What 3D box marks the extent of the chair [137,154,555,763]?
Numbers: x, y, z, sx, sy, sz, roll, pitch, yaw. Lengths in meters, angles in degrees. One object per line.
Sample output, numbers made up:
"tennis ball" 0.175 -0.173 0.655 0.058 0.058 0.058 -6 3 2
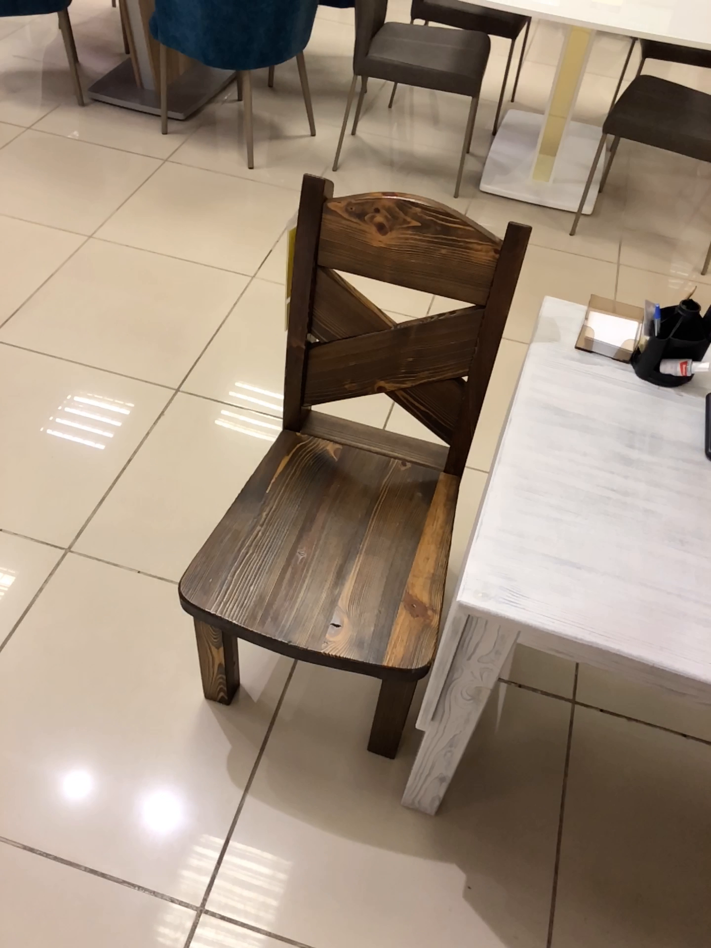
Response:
"chair" -0.007 0.016 1.435 0.450 0.896 0.572 15 48 7
